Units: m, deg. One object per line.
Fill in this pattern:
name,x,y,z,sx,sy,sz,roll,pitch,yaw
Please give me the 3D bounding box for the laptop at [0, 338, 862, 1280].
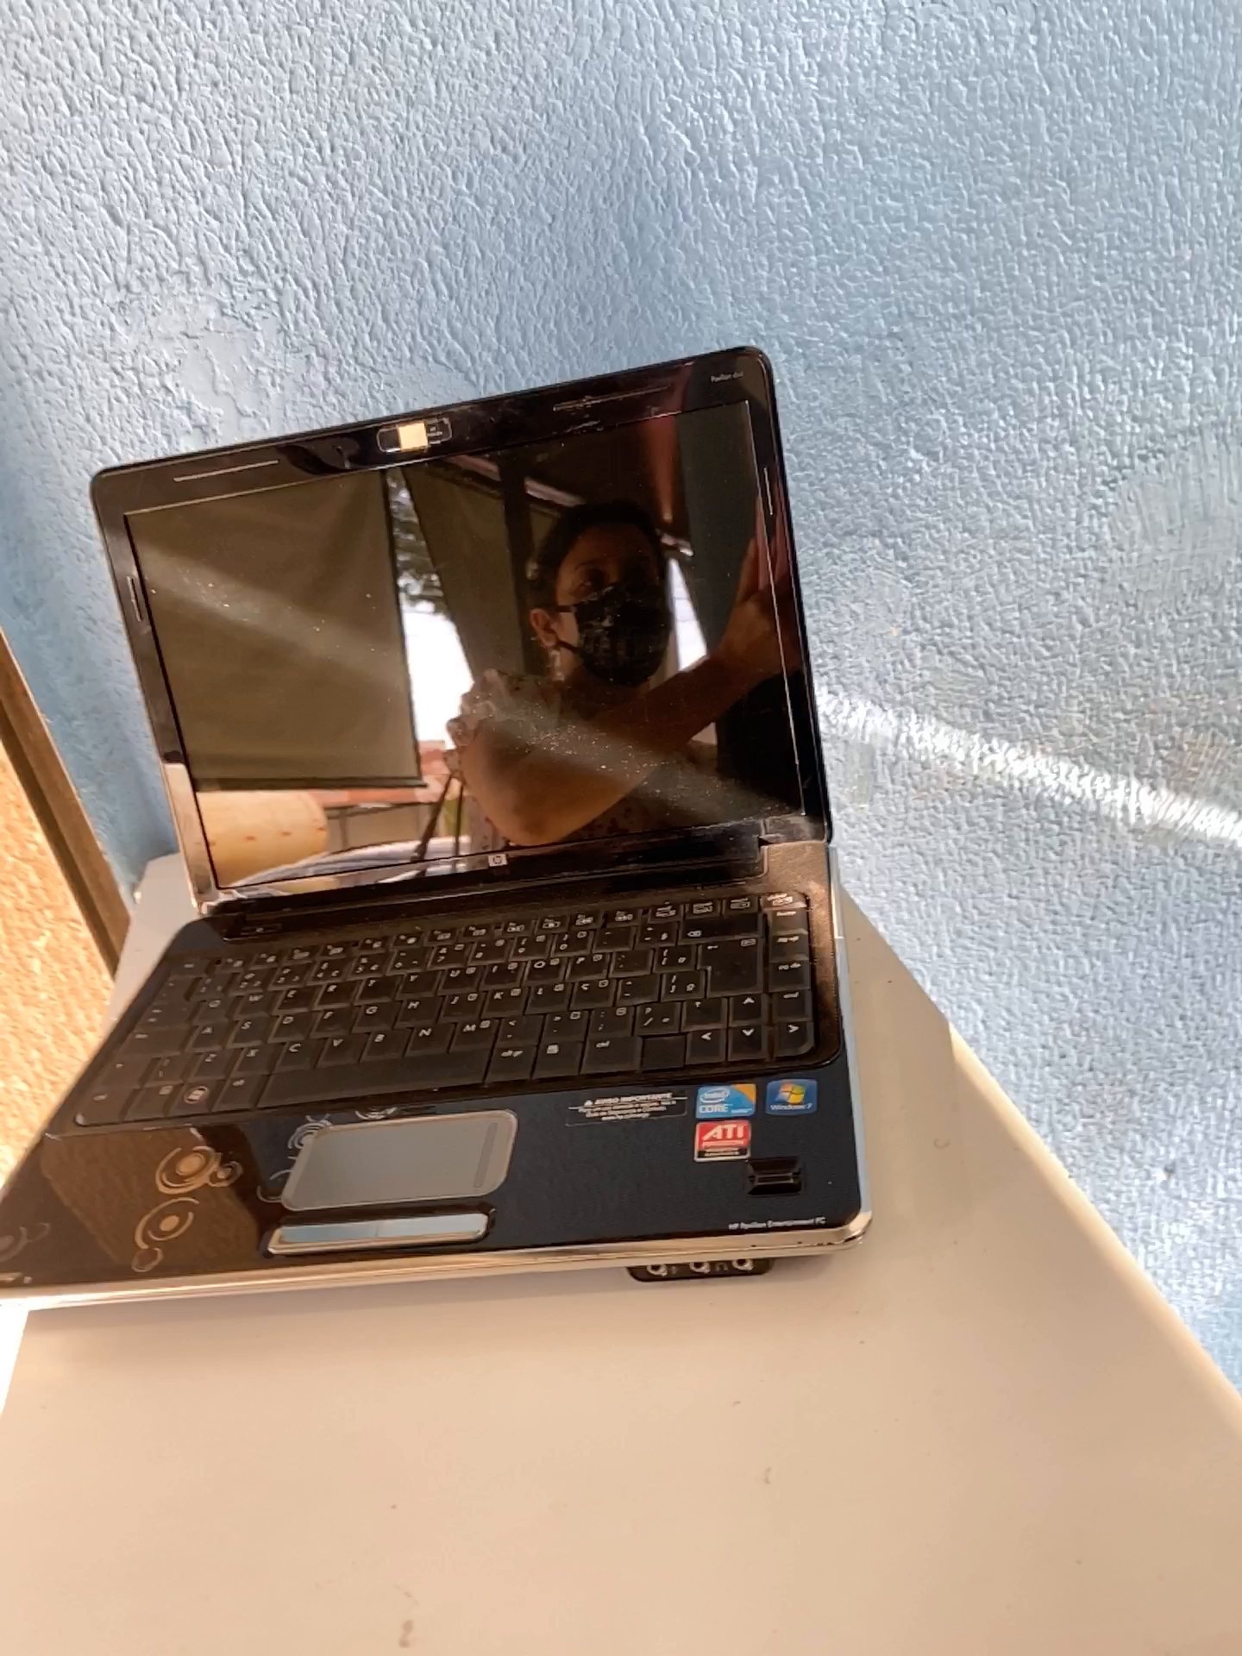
laptop,-0.090,-0.028,0.507,0.321,0.211,0.303,-7,28,10
